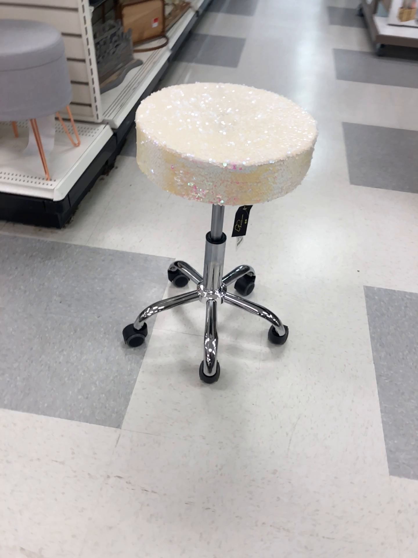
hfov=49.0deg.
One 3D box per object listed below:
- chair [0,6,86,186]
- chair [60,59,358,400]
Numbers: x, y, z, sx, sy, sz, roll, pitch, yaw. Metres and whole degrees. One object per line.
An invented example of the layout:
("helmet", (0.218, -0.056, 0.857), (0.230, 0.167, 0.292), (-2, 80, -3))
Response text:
("chair", (-0.587, -0.537, 1.349), (0.305, 0.382, 0.308), (7, 43, 4))
("chair", (0.013, -0.107, 1.067), (0.465, 0.591, 0.439), (7, 43, 4))
